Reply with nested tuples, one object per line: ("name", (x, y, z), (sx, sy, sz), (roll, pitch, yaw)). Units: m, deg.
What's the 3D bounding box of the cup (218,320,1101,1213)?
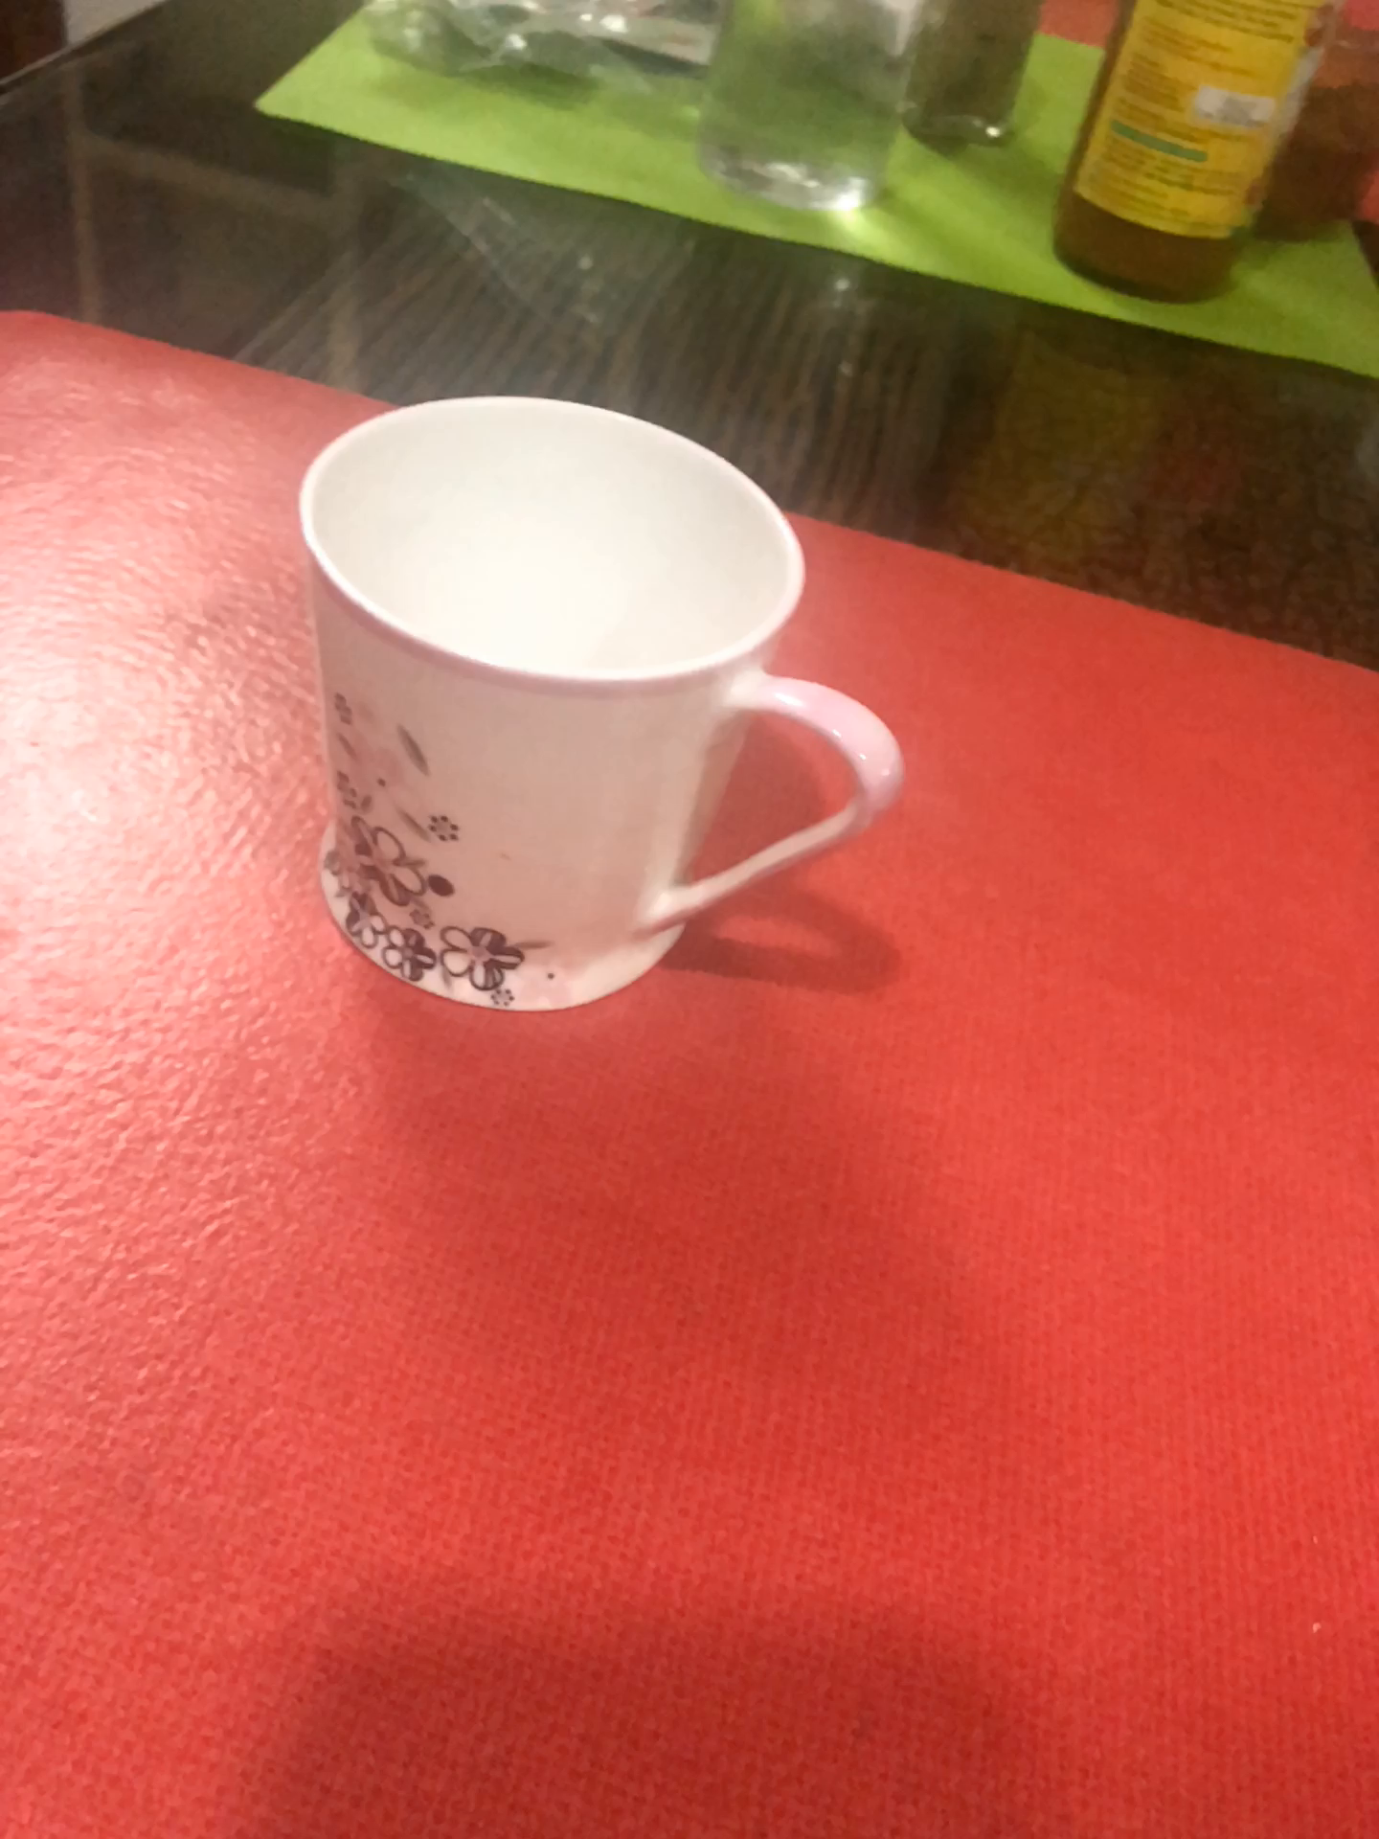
("cup", (-0.007, -0.025, 0.237), (0.100, 0.080, 0.070), (25, 45, 12))
